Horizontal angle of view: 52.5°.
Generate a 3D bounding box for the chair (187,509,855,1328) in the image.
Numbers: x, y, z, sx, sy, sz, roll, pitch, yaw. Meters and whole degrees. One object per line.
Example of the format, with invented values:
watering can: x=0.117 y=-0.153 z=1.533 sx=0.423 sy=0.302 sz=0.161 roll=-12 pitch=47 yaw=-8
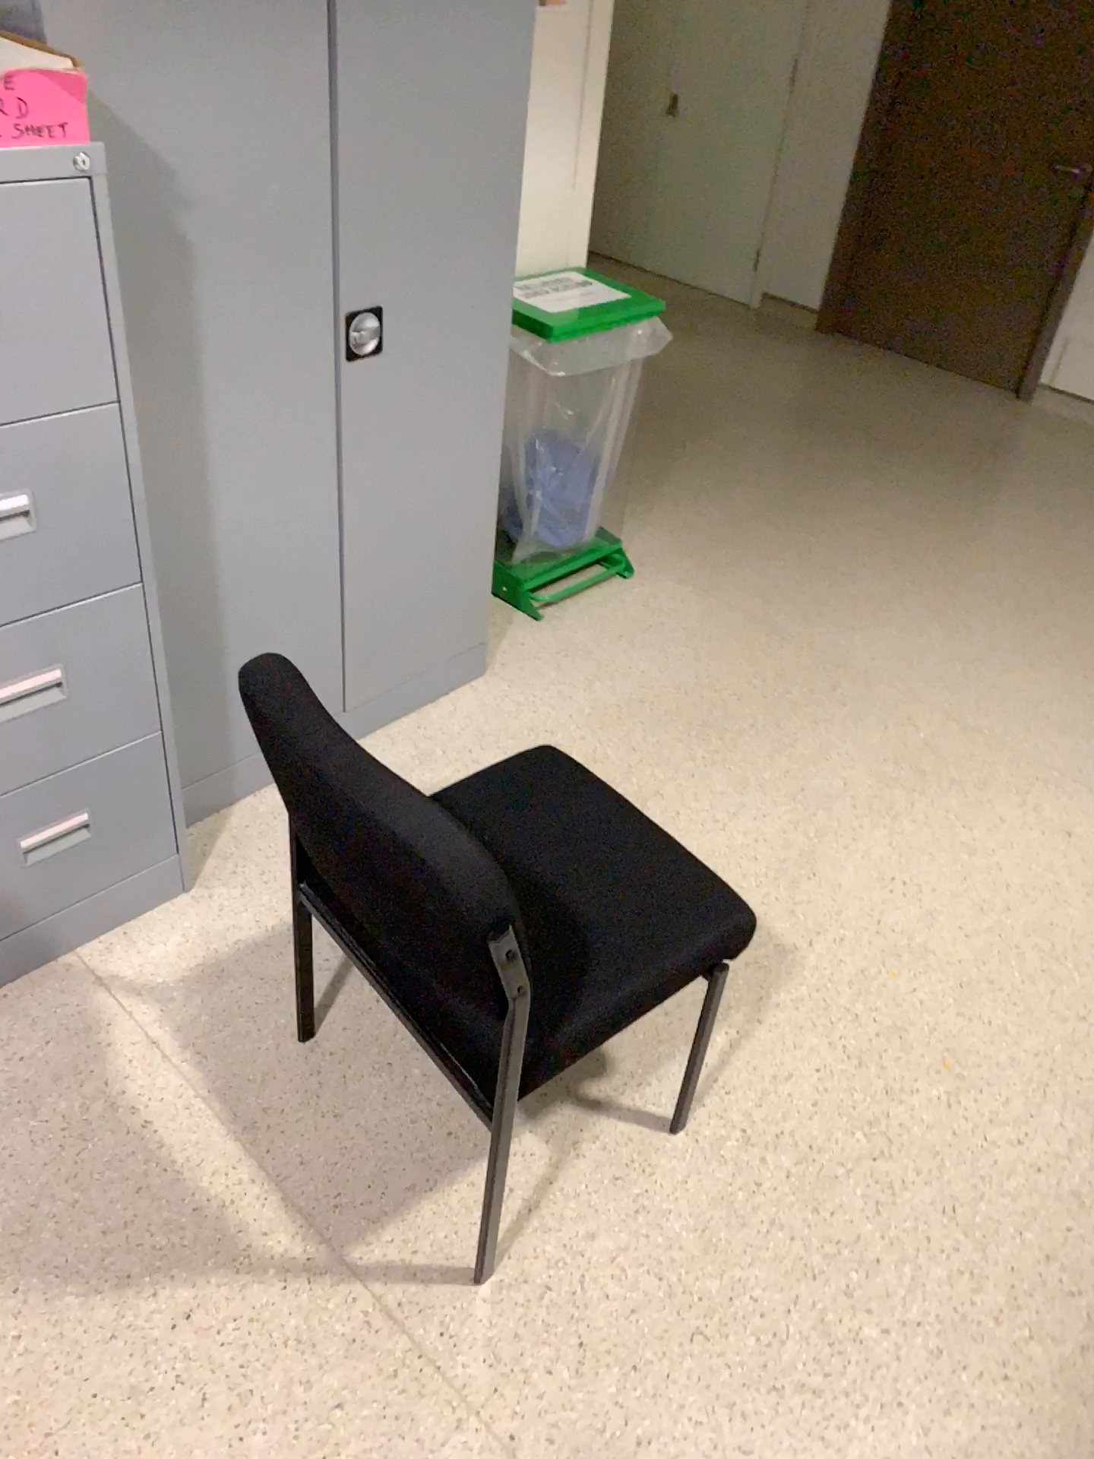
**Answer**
chair: x=-0.081 y=0.243 z=1.645 sx=0.582 sy=0.832 sz=0.634 roll=-22 pitch=45 yaw=-33
